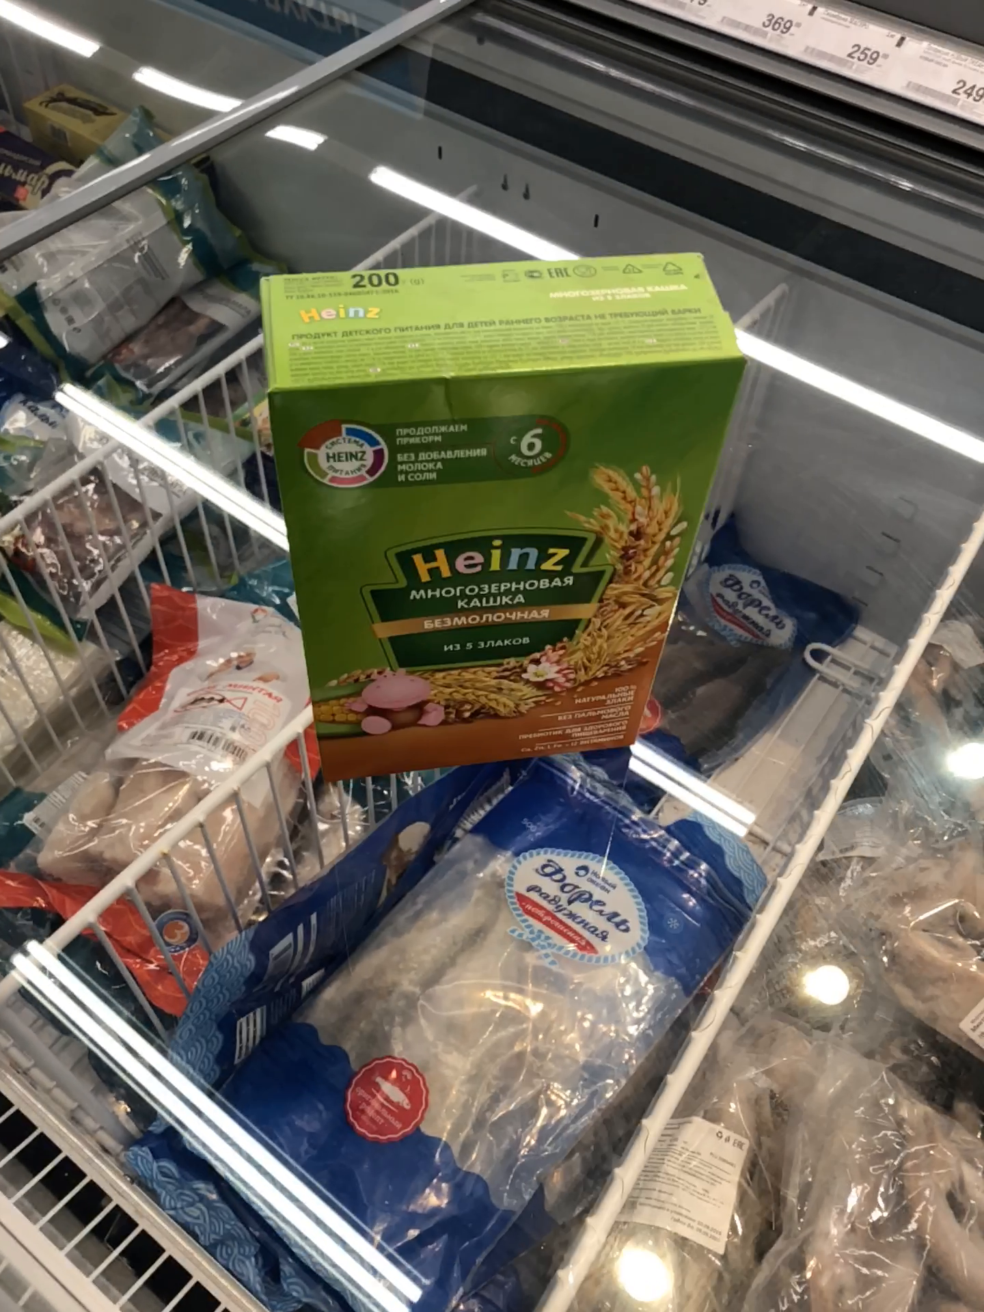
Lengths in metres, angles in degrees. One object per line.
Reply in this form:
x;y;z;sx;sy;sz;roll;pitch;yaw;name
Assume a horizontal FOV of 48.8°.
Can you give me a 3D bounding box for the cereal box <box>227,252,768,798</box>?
-0.004;-0.031;0.372;0.140;0.199;0.050;-6;53;-7;cereal box
